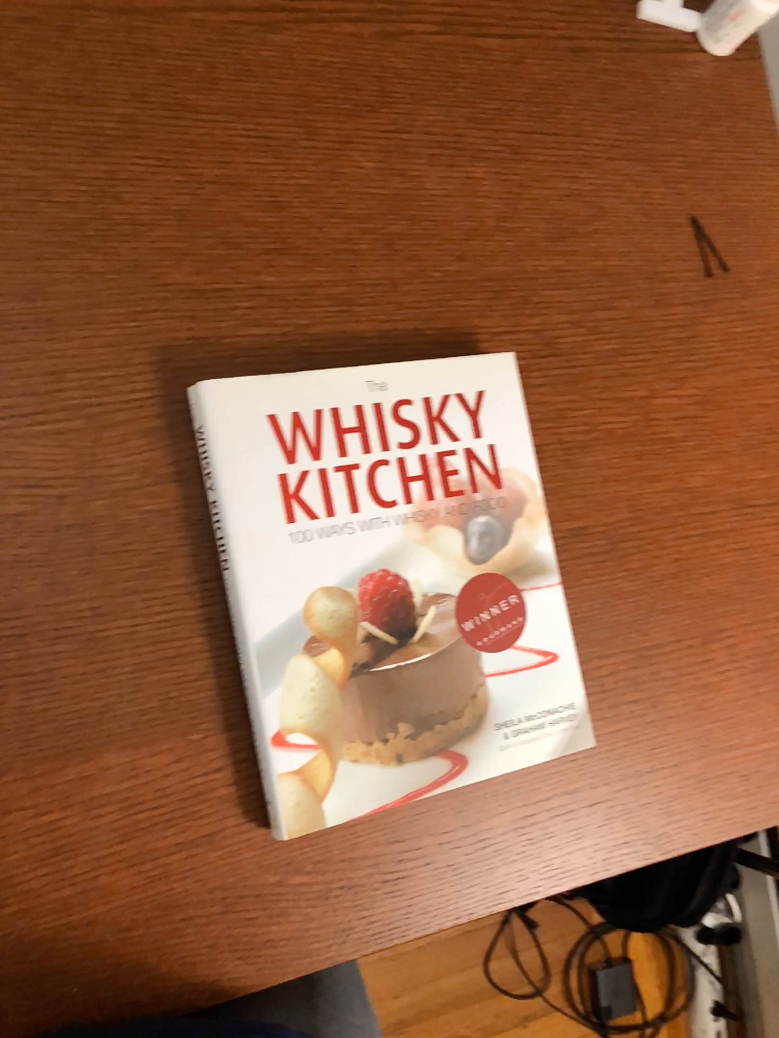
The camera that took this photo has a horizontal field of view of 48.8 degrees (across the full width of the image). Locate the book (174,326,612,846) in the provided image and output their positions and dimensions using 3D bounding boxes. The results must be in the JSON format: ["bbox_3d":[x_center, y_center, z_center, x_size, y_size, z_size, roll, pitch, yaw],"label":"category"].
[{"bbox_3d":[0.005,0.027,0.525,0.220,0.040,0.270,-10,86,-21],"label":"book"}]
